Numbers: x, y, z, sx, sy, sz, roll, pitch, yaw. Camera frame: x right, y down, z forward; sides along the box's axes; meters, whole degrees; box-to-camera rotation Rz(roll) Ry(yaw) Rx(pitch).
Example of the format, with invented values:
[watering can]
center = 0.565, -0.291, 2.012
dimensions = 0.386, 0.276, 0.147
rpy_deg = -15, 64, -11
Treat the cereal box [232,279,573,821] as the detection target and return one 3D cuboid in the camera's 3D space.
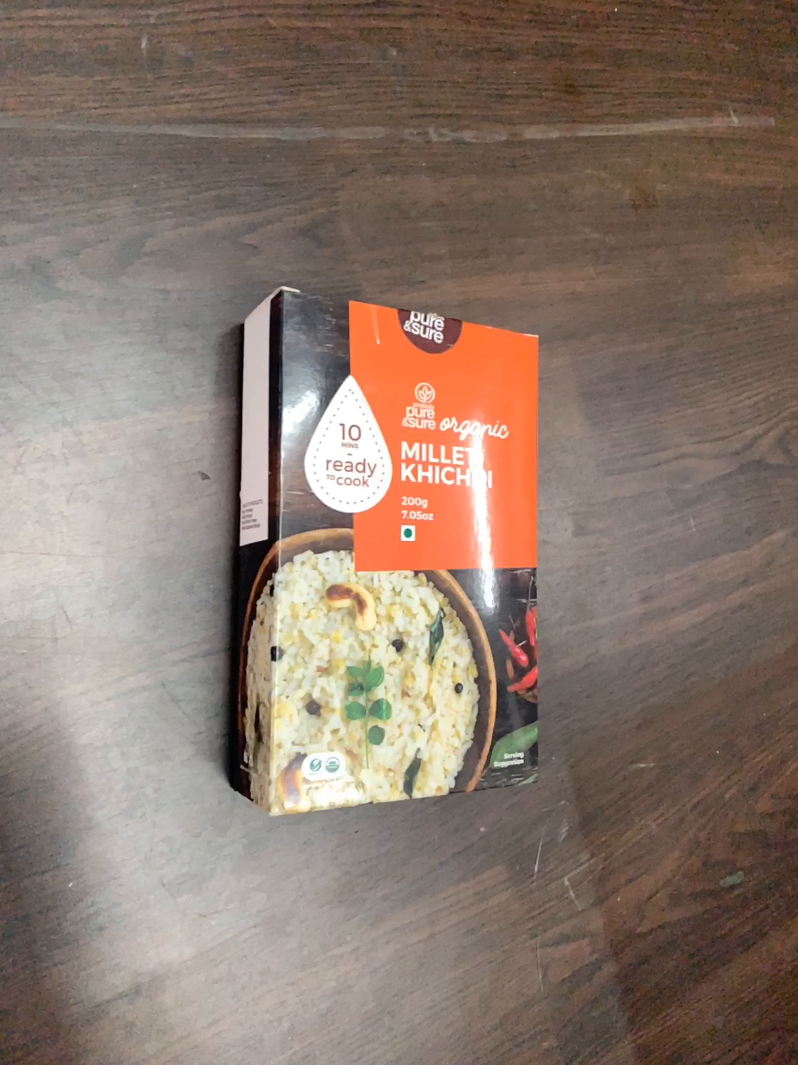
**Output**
[cereal box]
center = 0.003, 0.007, 0.287
dimensions = 0.110, 0.040, 0.160
rpy_deg = 3, 85, -27
